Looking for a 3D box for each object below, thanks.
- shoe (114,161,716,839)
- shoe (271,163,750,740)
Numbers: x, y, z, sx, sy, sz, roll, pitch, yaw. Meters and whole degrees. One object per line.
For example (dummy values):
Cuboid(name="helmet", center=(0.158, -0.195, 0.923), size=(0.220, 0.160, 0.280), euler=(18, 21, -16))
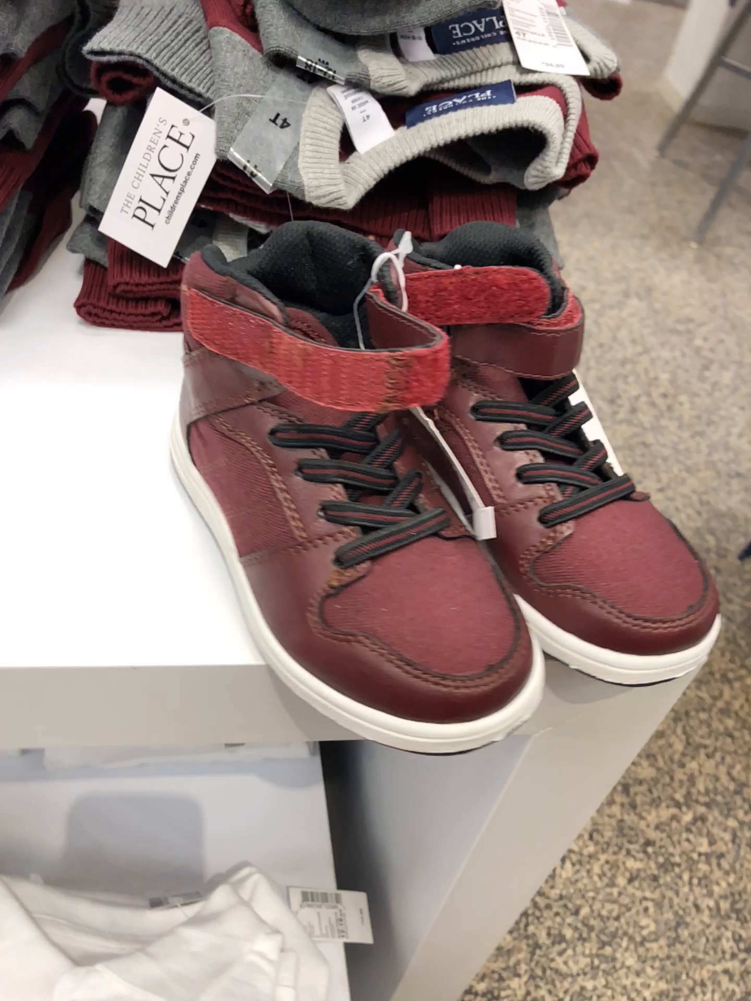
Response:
Cuboid(name="shoe", center=(-0.007, -0.010, 0.241), size=(0.070, 0.100, 0.160), euler=(-20, 53, -29))
Cuboid(name="shoe", center=(0.045, -0.029, 0.300), size=(0.080, 0.100, 0.180), euler=(-20, 53, -29))
